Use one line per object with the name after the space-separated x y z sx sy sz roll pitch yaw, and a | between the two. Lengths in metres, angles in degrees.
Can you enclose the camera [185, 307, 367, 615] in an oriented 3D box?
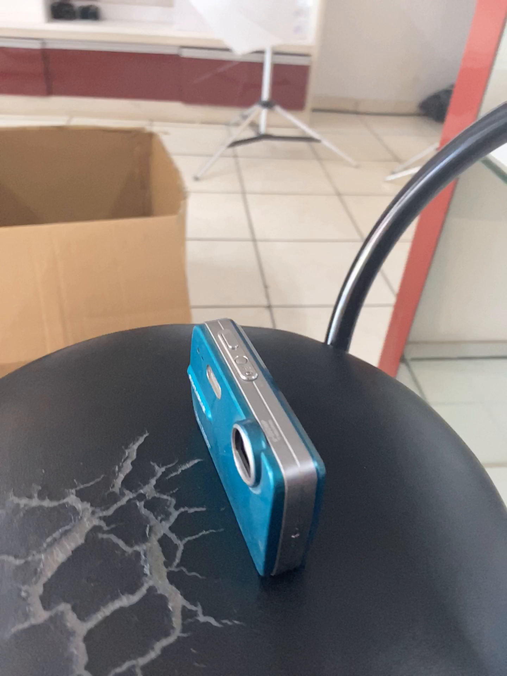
0.001 0.046 0.220 0.030 0.070 0.100 -11 41 -20 | camera
